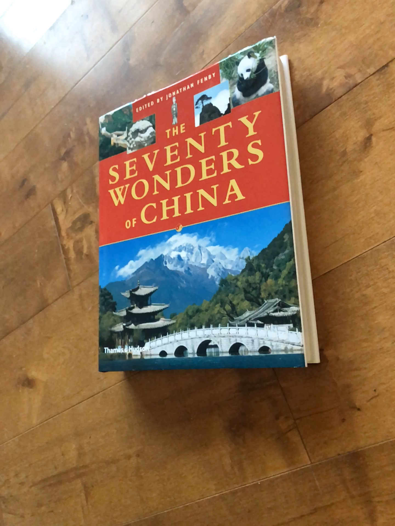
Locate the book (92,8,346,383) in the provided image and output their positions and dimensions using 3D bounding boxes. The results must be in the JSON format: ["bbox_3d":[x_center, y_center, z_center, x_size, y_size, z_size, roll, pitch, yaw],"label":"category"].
[{"bbox_3d":[0.000,-0.042,0.398,0.221,0.050,0.290,-11,75,33],"label":"book"}]
